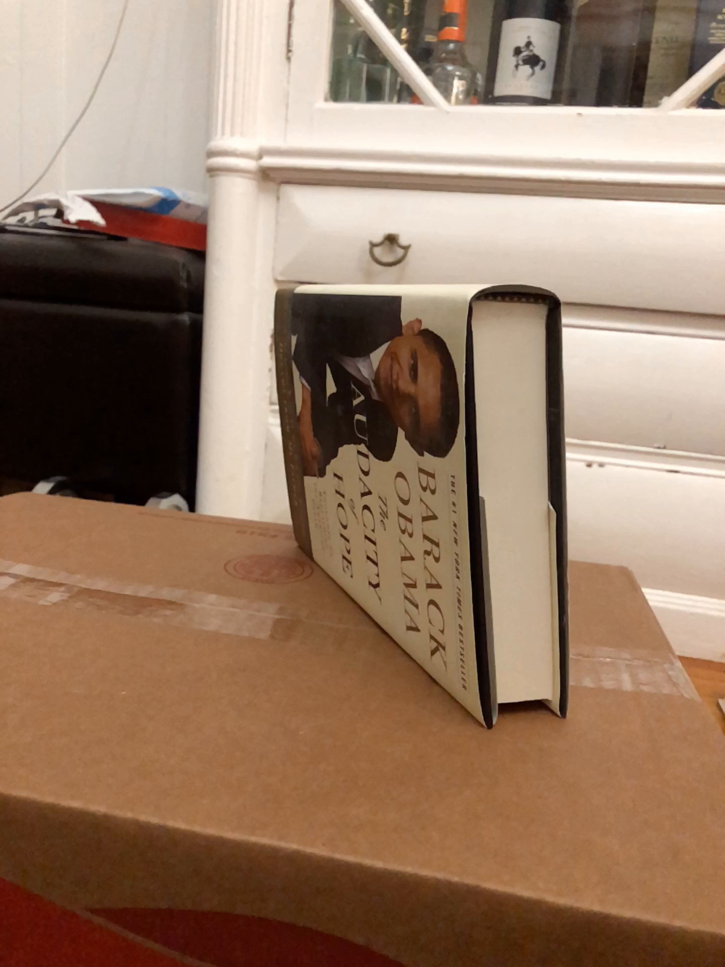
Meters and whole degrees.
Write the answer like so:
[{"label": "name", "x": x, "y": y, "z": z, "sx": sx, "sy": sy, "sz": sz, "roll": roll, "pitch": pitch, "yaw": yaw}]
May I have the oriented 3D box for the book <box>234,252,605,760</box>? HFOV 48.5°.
[{"label": "book", "x": 0.009, "y": -0.014, "z": 0.389, "sx": 0.060, "sy": 0.169, "sz": 0.250, "roll": -11, "pitch": 15, "yaw": -21}]
